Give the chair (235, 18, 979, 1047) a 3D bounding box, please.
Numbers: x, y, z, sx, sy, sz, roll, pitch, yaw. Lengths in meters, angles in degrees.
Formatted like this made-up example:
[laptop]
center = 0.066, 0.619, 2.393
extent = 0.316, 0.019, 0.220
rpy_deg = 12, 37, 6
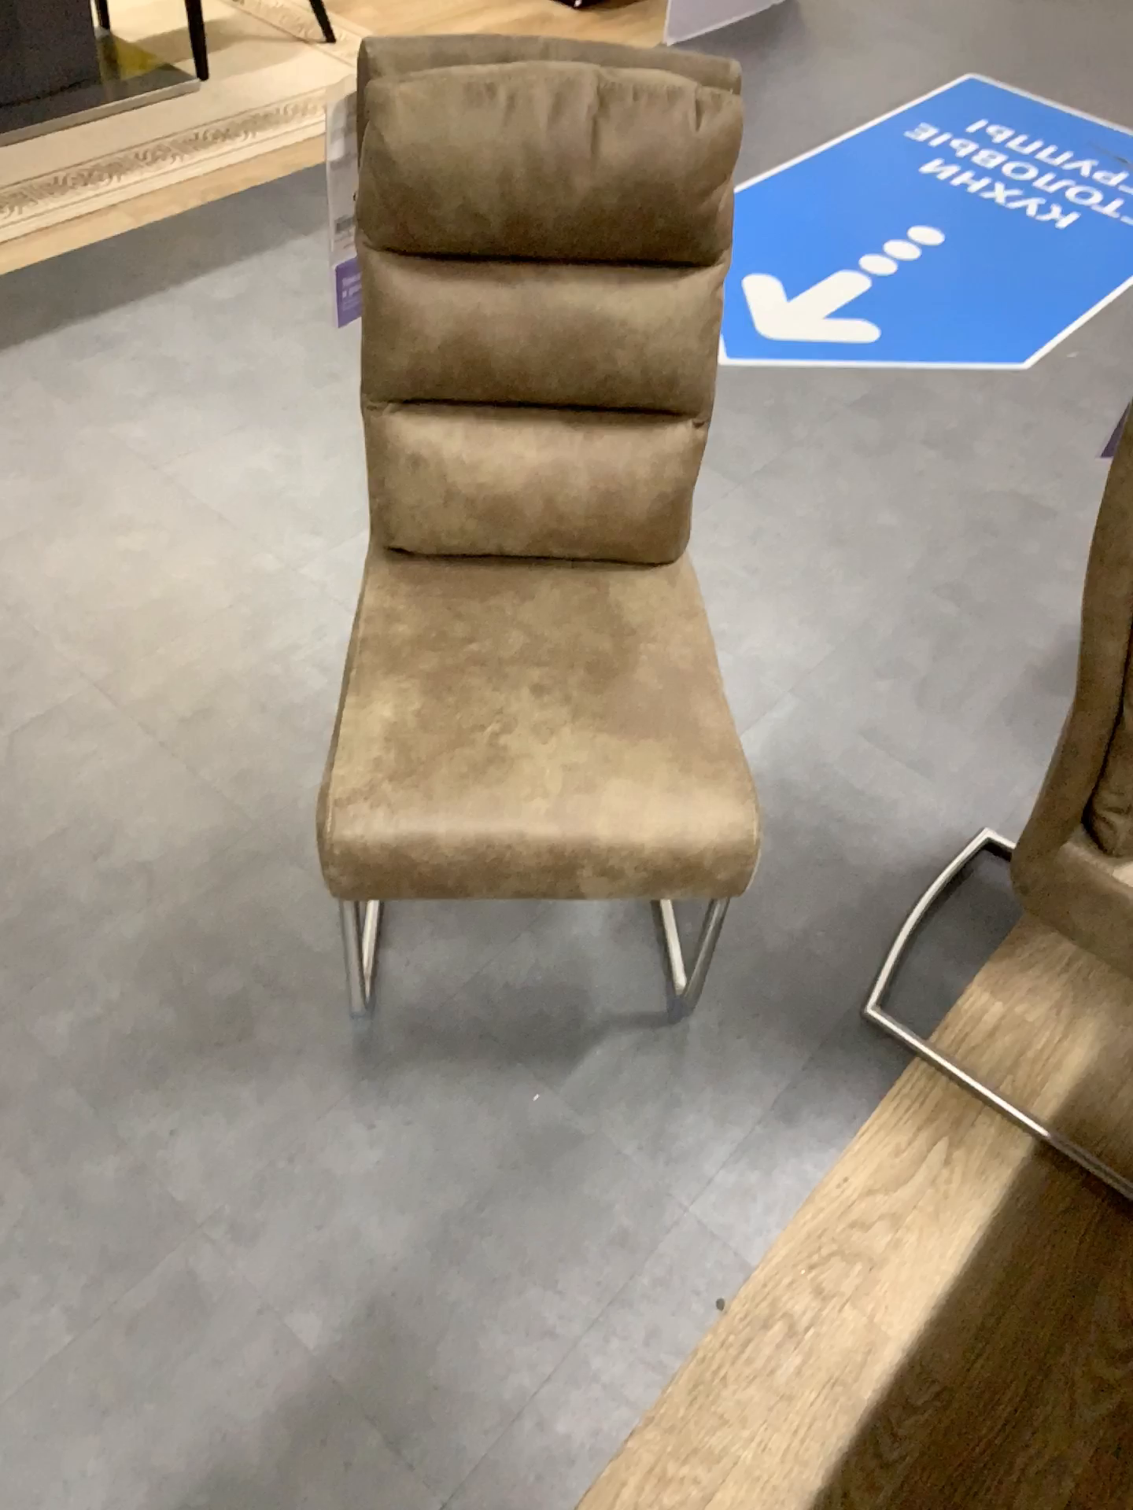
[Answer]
[chair]
center = -0.019, -0.170, 1.348
extent = 0.500, 0.994, 0.603
rpy_deg = 1, 50, -5
